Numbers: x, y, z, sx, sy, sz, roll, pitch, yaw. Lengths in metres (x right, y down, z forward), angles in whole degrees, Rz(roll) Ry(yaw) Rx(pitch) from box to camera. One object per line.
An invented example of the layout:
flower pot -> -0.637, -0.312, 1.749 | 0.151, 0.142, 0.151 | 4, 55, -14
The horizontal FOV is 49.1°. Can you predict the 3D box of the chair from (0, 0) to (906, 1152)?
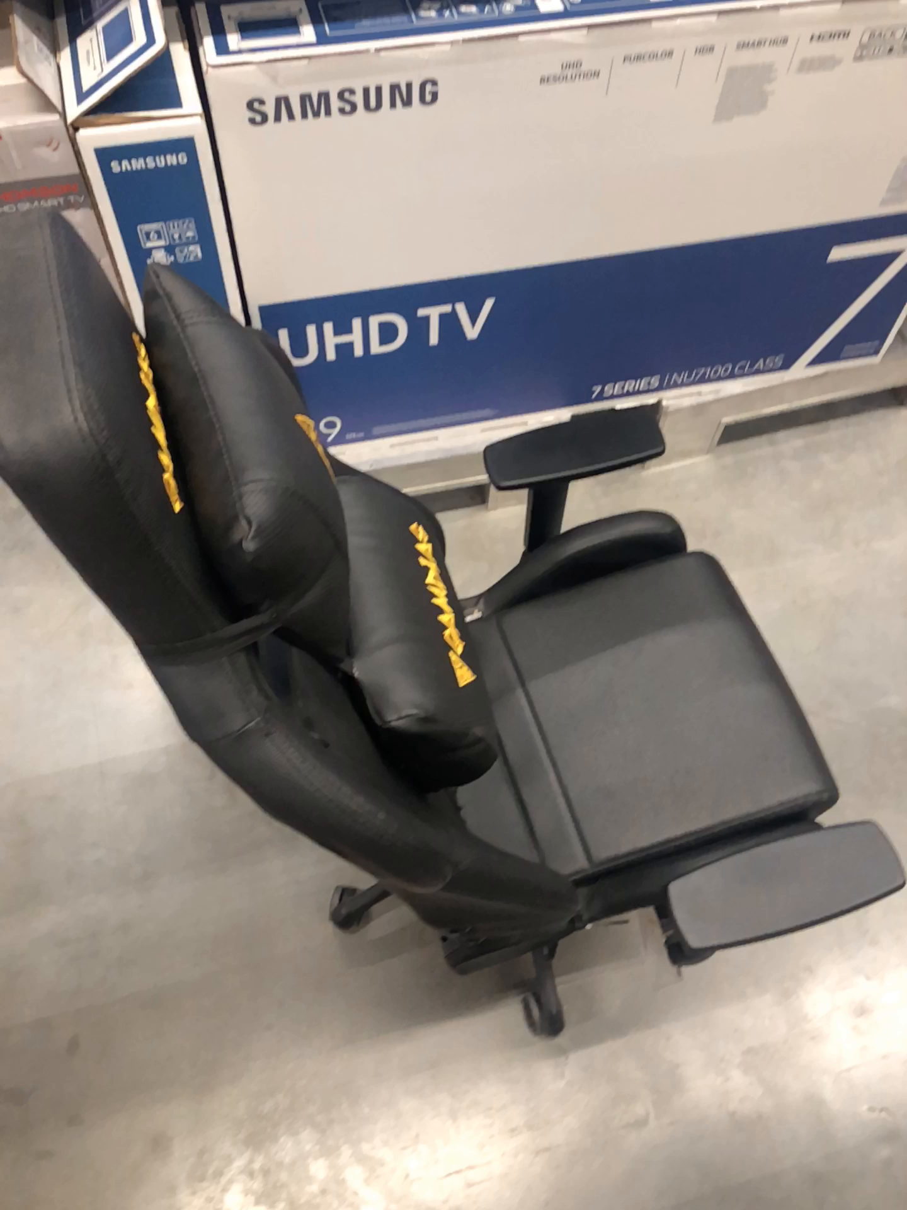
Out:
chair -> 0.101, 0.074, 1.135 | 0.781, 1.285, 0.743 | -14, 62, -10
